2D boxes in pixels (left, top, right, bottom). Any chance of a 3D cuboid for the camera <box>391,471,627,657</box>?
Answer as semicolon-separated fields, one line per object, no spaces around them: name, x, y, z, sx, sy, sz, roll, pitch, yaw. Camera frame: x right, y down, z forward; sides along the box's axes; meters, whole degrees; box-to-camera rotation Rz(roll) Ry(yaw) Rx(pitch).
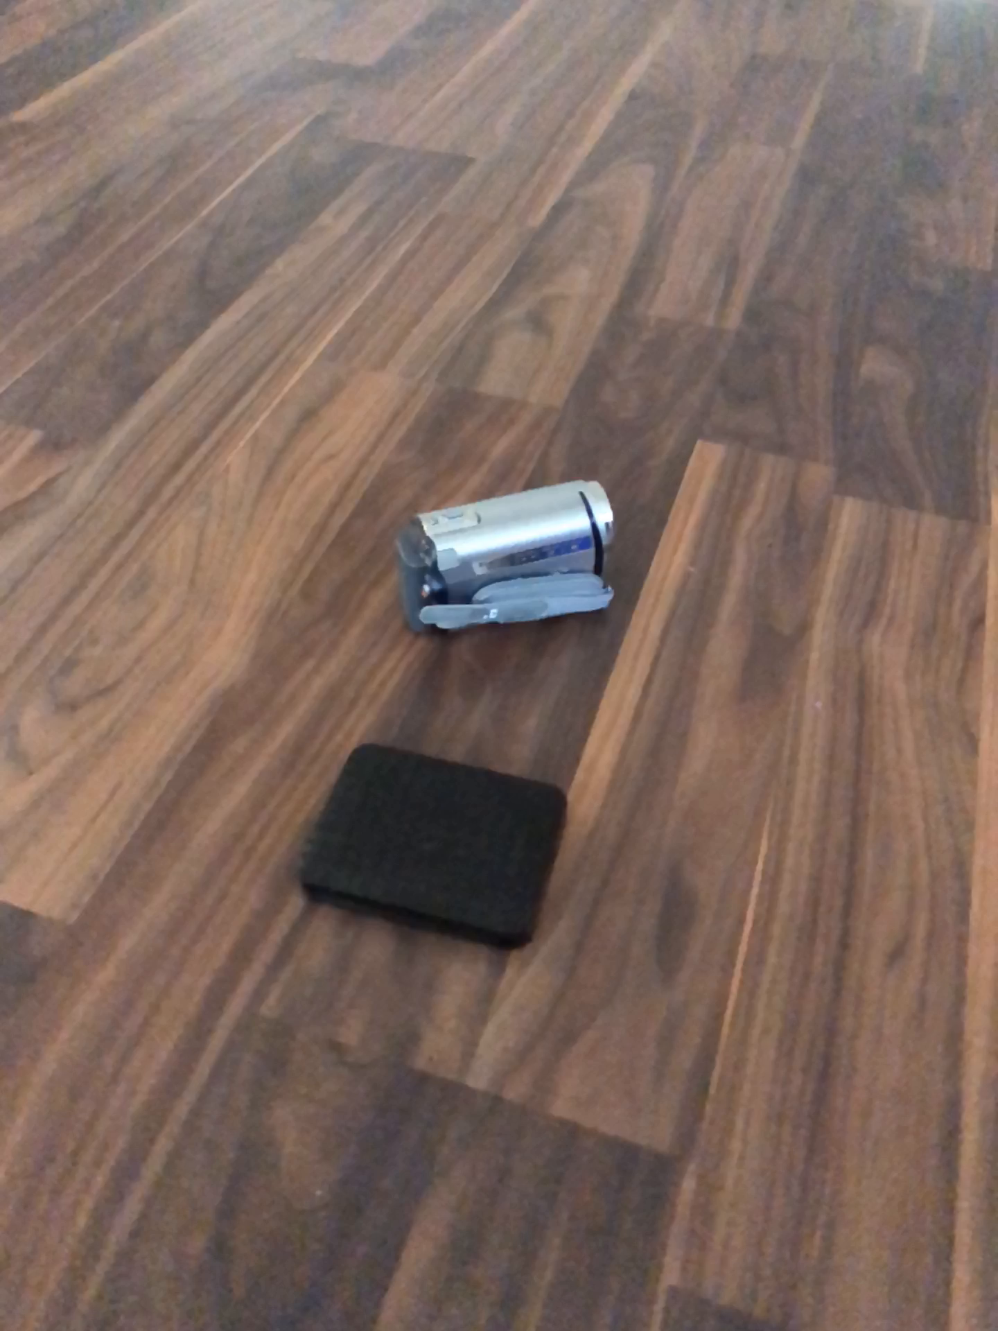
camera;0.005;-0.056;0.604;0.115;0.065;0.048;-13;48;-12
